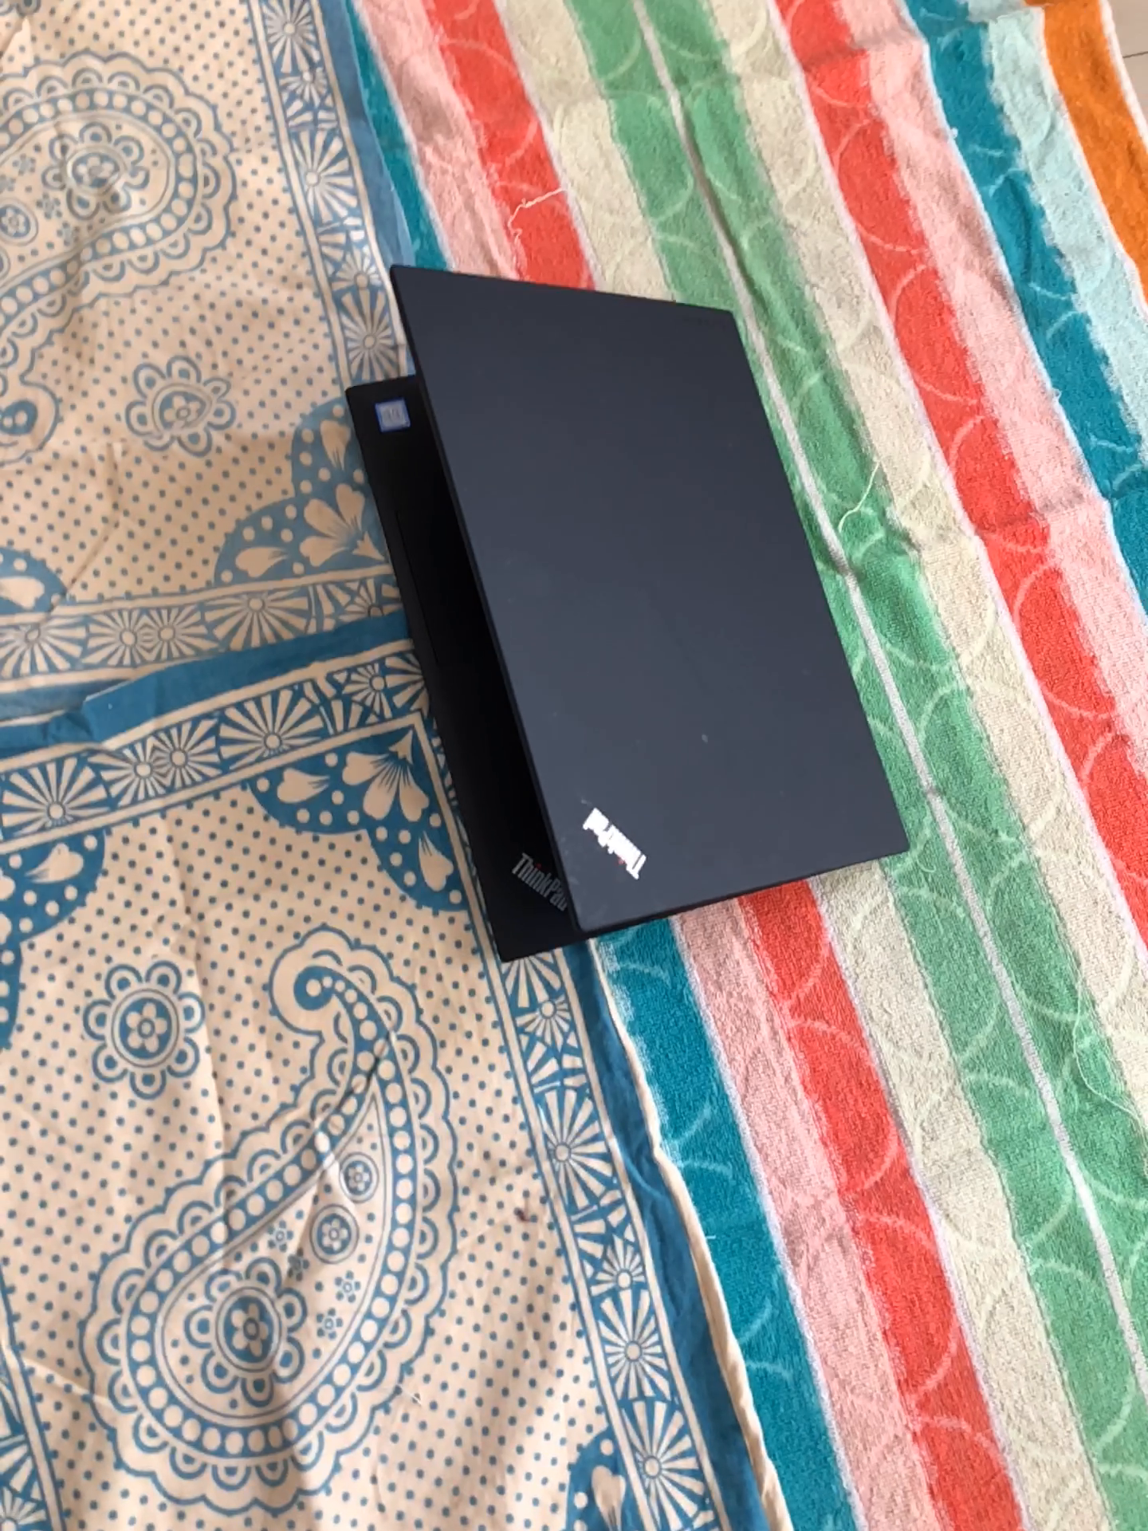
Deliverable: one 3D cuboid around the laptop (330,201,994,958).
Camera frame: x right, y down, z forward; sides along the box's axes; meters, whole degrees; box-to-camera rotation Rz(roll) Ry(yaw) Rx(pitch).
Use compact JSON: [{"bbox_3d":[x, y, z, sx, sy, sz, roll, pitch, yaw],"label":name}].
[{"bbox_3d":[0.038,-0.098,0.685,0.243,0.122,0.345,-15,82,-11],"label":"laptop"}]
